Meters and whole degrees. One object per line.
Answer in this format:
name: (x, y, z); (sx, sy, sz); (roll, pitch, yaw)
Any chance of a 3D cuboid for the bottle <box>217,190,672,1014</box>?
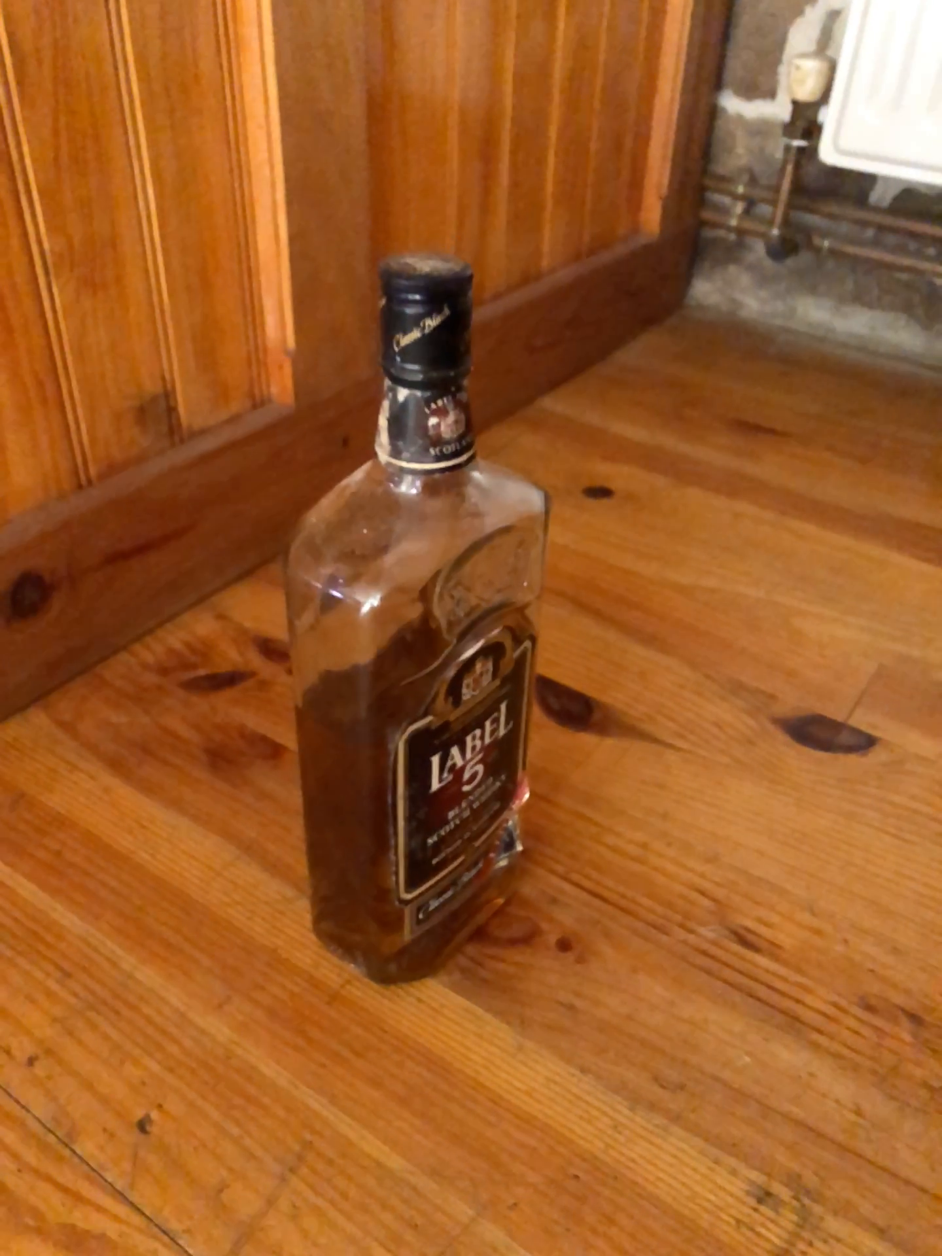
bottle: (-0.010, 0.000, 0.404); (0.080, 0.288, 0.121); (28, 43, 30)
